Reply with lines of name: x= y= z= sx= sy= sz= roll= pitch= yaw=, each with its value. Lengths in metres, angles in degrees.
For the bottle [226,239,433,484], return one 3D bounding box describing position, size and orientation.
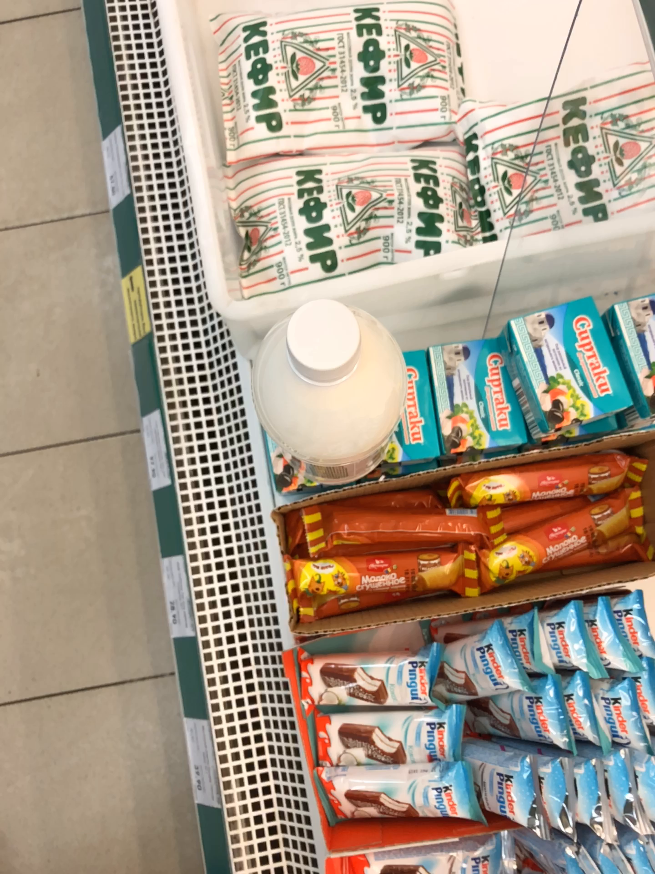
bottle: x=0.003 y=-0.023 z=0.412 sx=0.079 sy=0.251 sz=0.077 roll=0 pitch=82 yaw=1
